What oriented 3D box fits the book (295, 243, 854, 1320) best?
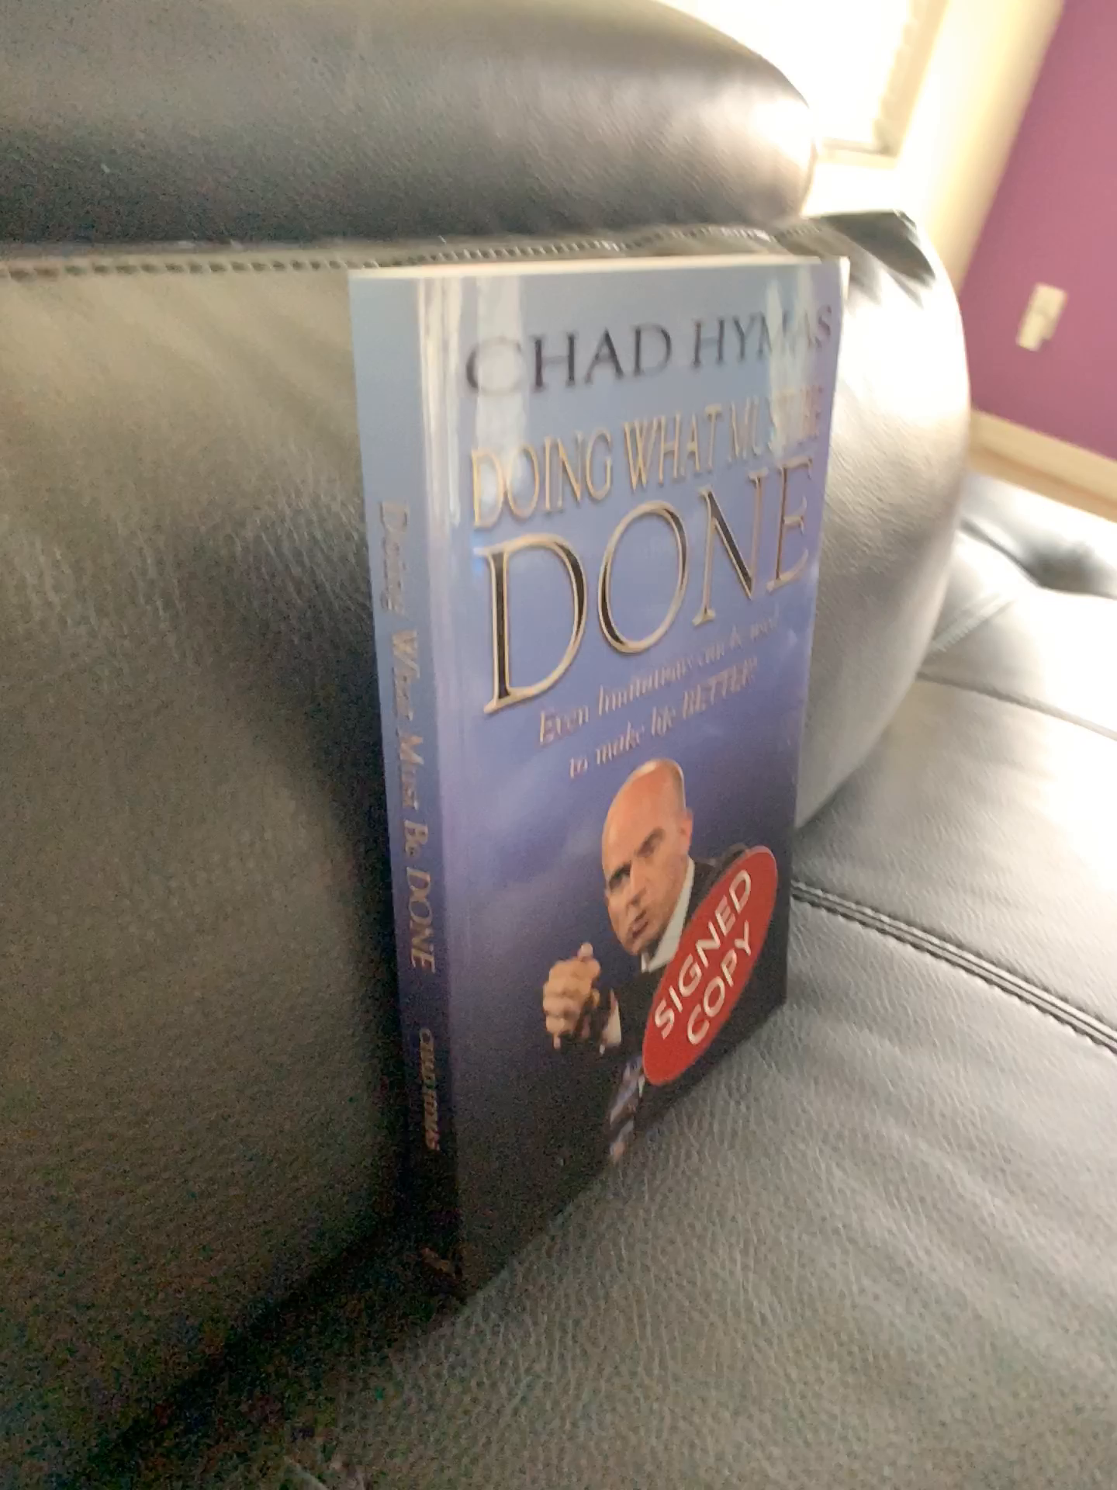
[{"bbox_3d":[0.017,0.000,0.286,0.025,0.225,0.157,16,27,37],"label":"book"}]
